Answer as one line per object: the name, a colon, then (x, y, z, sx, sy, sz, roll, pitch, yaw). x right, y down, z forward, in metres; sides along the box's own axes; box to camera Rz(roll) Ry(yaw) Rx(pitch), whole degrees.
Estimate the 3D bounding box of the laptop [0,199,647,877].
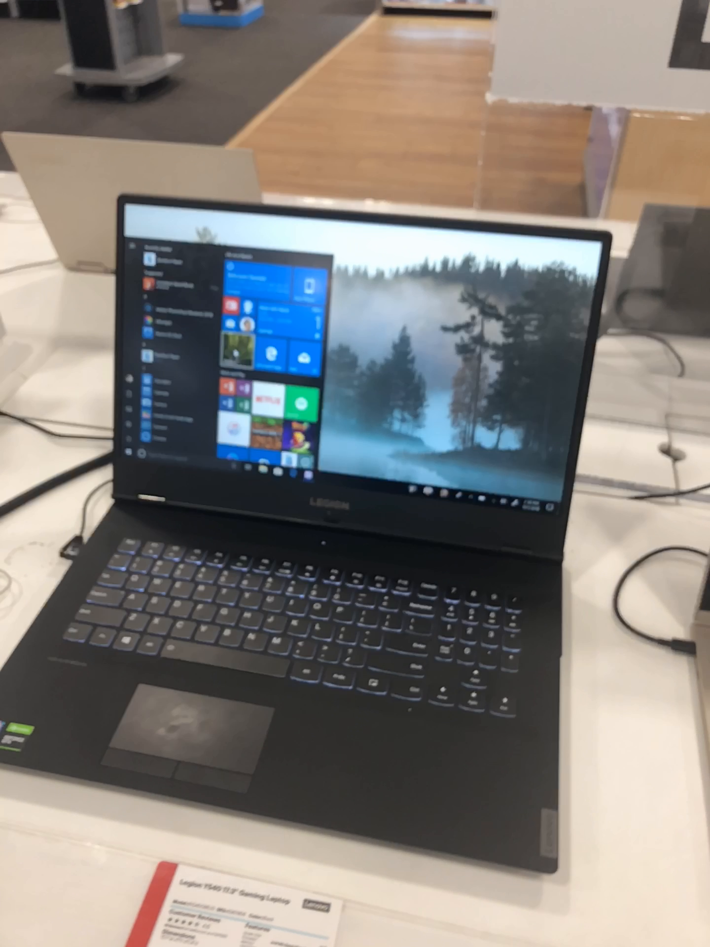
laptop: (-0.039, 0.006, 0.554, 0.382, 0.241, 0.359, 8, 38, 8)
